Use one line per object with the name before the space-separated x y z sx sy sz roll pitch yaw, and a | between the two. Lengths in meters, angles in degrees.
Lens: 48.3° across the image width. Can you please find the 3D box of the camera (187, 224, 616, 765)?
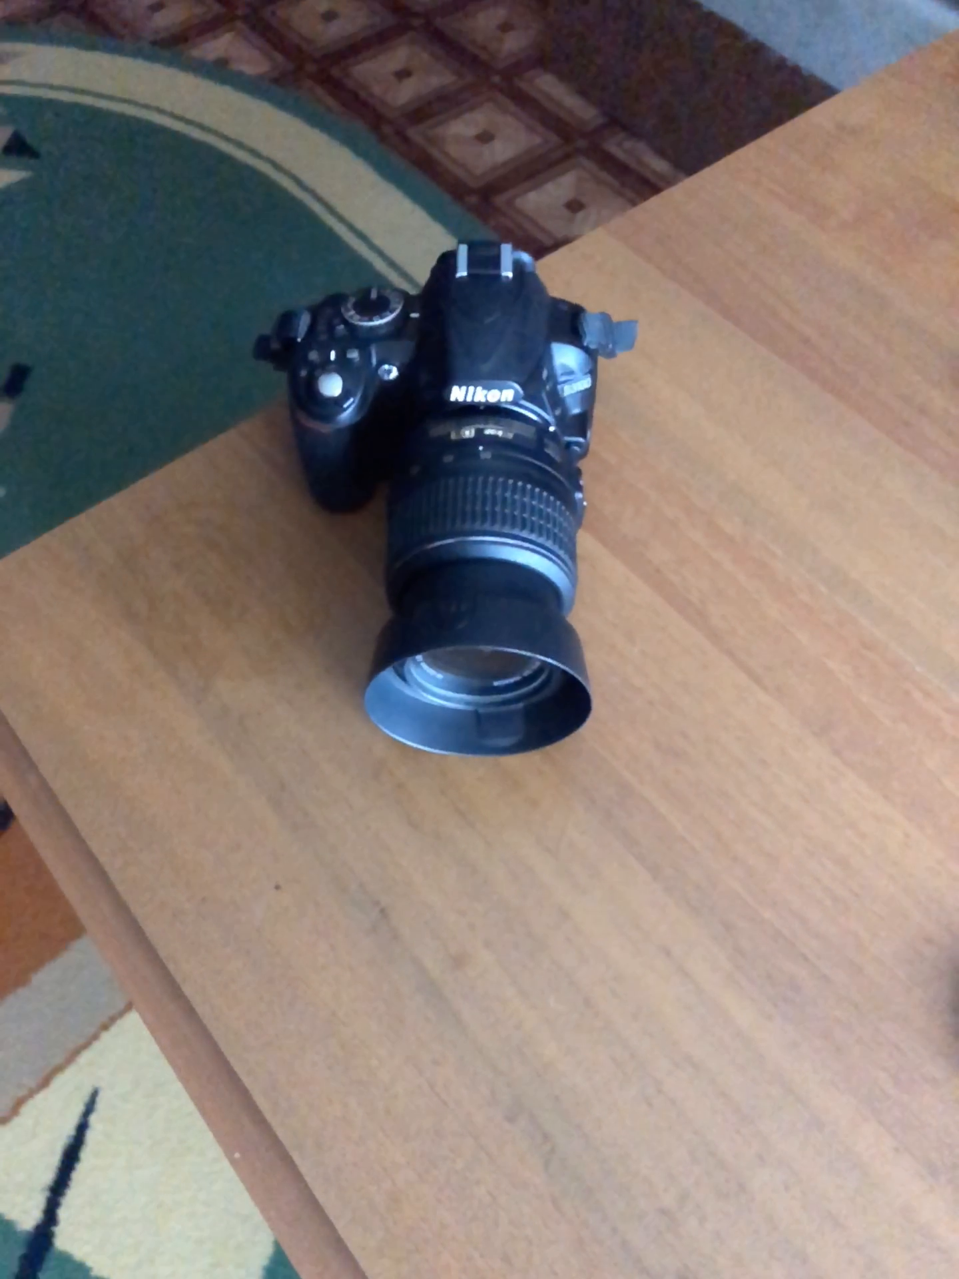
camera | -0.018 -0.058 0.407 0.129 0.092 0.183 2 58 2
